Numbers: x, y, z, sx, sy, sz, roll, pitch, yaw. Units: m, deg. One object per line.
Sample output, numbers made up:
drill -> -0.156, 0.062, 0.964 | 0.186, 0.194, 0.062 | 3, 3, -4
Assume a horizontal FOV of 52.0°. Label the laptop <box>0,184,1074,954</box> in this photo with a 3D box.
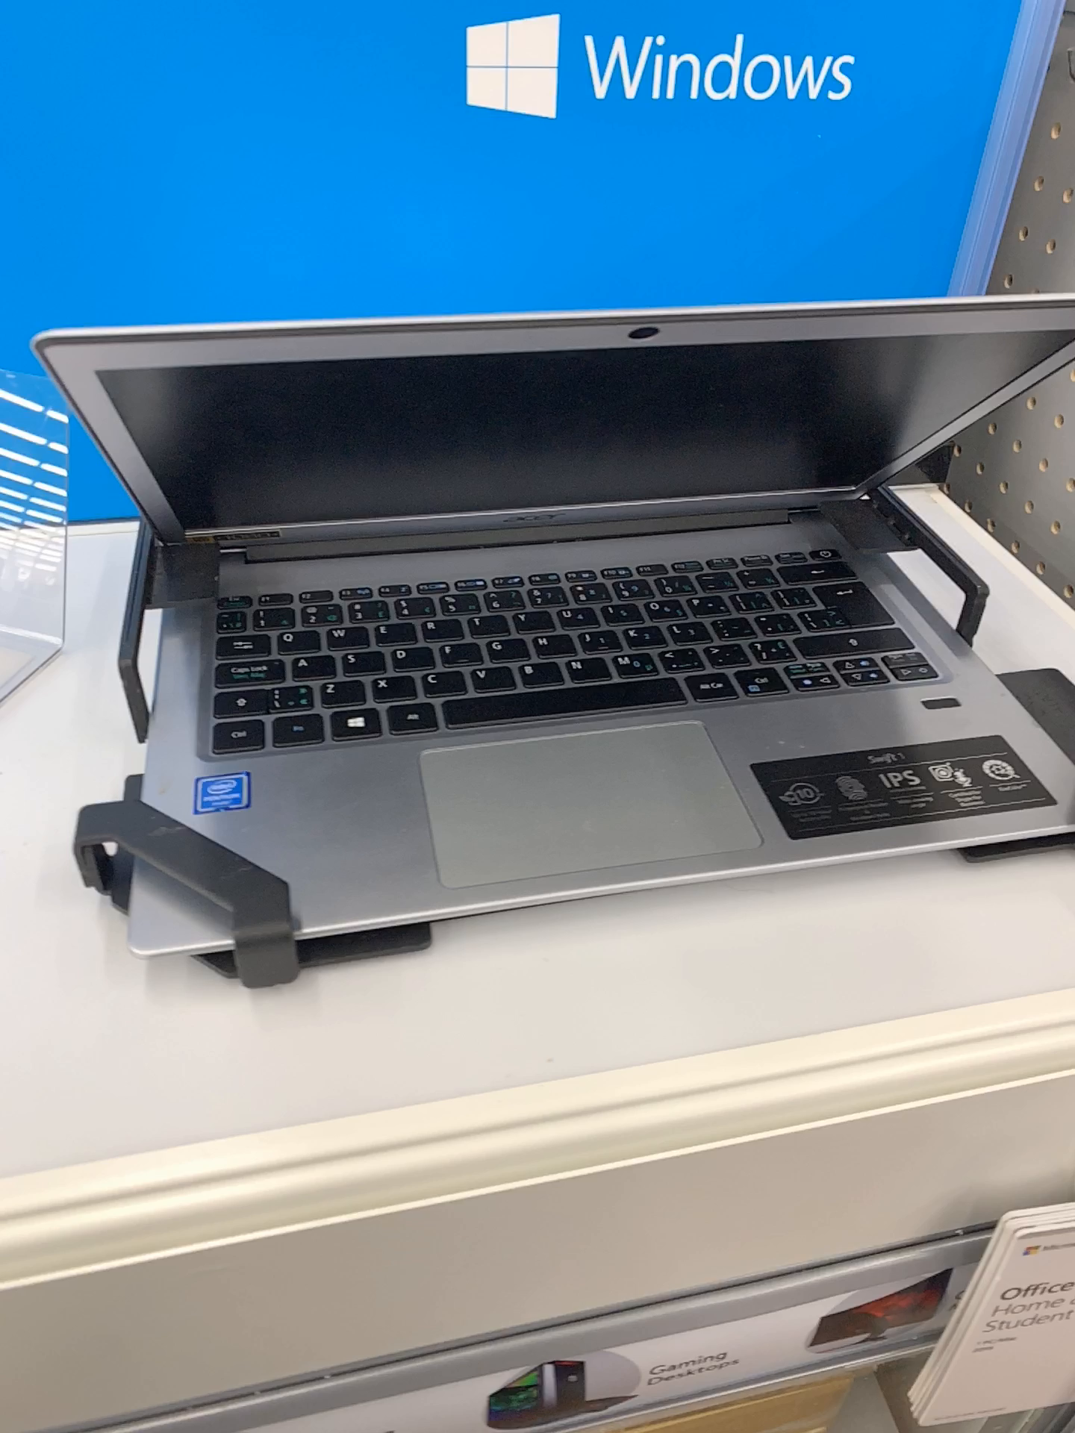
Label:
laptop -> 0.019, -0.072, 0.363 | 0.305, 0.141, 0.214 | -6, 38, -11
